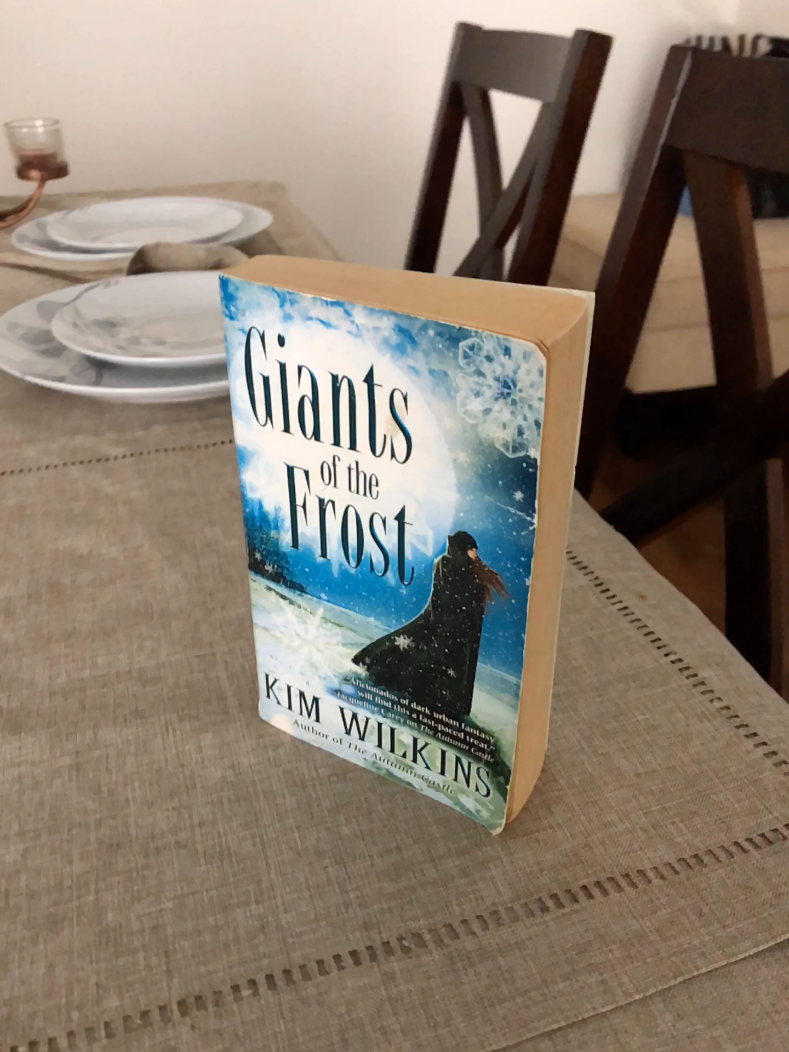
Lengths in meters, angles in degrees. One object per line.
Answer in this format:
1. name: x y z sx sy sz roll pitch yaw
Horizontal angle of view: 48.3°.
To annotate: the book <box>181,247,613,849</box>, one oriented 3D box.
1. book: -0.001 0.007 0.281 0.111 0.168 0.043 16 33 26
